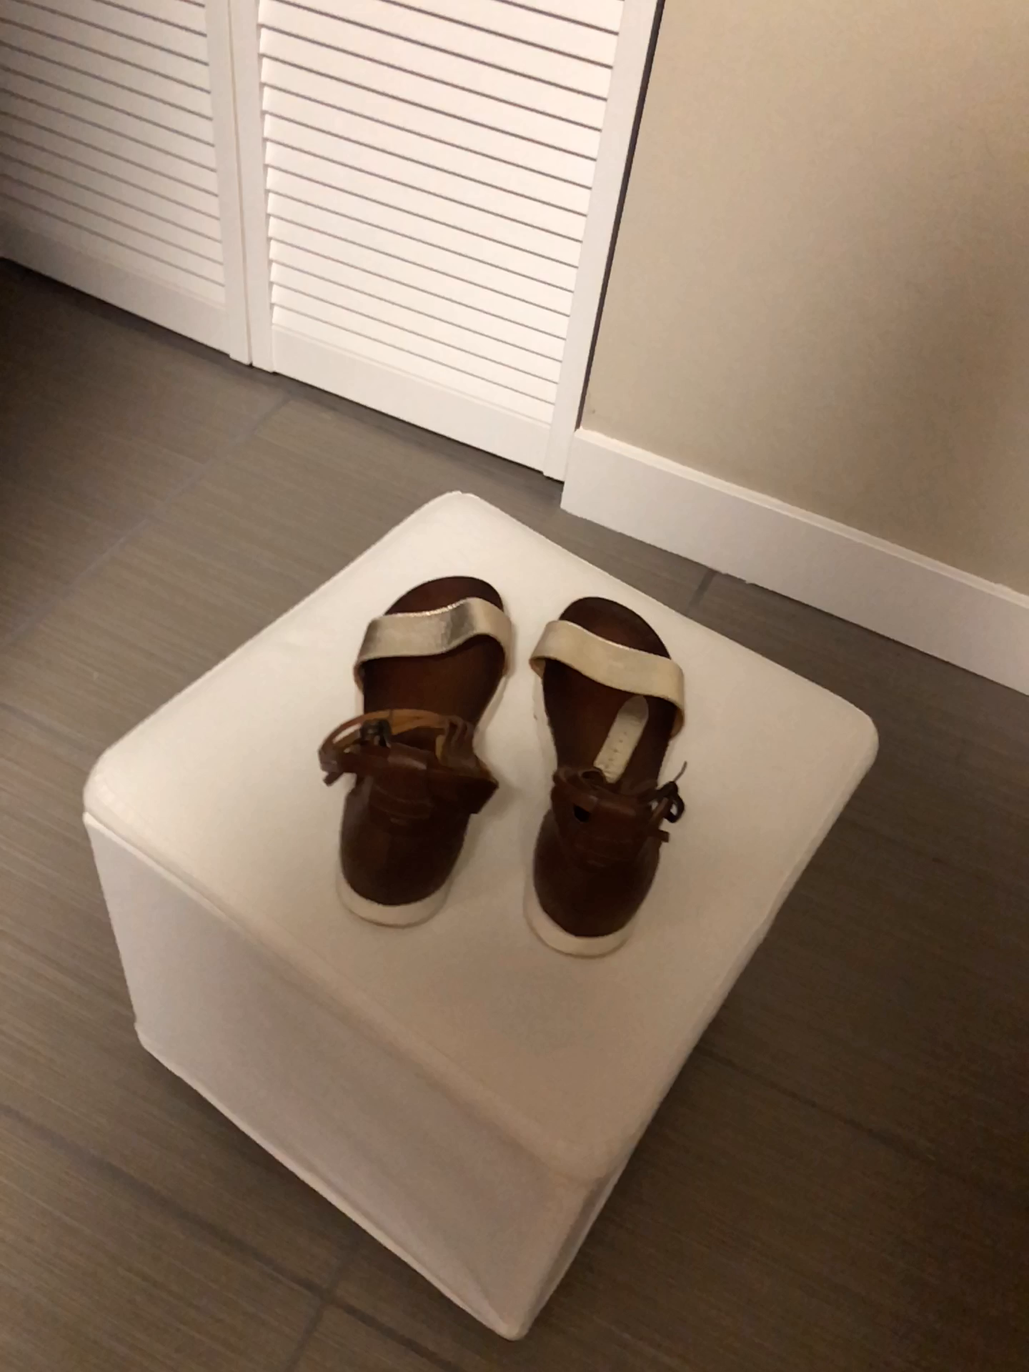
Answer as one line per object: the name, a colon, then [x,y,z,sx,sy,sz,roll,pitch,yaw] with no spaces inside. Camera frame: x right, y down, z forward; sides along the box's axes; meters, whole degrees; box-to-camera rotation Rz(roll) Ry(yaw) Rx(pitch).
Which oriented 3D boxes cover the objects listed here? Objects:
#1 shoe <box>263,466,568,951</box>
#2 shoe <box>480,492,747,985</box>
shoe: [-0.047,0.001,0.636,0.110,0.090,0.261,11,47,0]
shoe: [0.062,0.017,0.632,0.110,0.090,0.261,11,47,0]
